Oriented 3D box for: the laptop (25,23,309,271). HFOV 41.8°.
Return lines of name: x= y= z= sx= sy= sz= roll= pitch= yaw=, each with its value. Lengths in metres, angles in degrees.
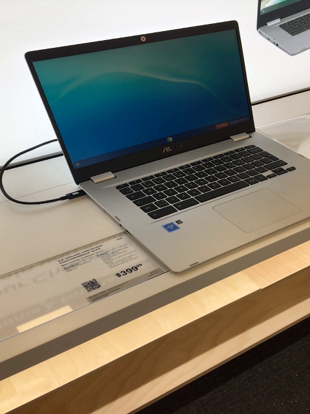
laptop: x=0.079 y=-0.121 z=0.631 sx=0.367 sy=0.198 sz=0.333 roll=-23 pitch=49 yaw=-26
